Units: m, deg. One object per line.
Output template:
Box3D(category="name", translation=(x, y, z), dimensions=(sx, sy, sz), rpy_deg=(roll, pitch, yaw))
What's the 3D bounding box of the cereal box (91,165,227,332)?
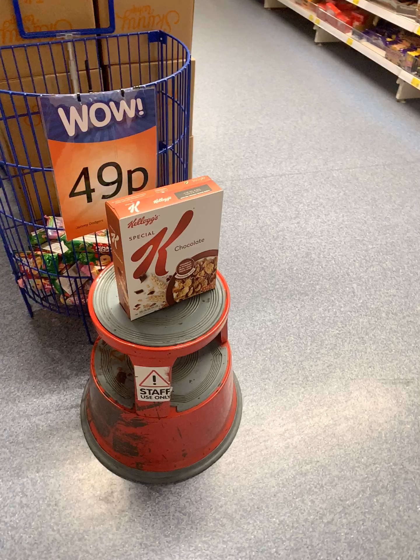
Box3D(category="cereal box", translation=(-0.085, -0.051, 0.776), dimensions=(0.211, 0.267, 0.060), rpy_deg=(-20, 49, -23))
